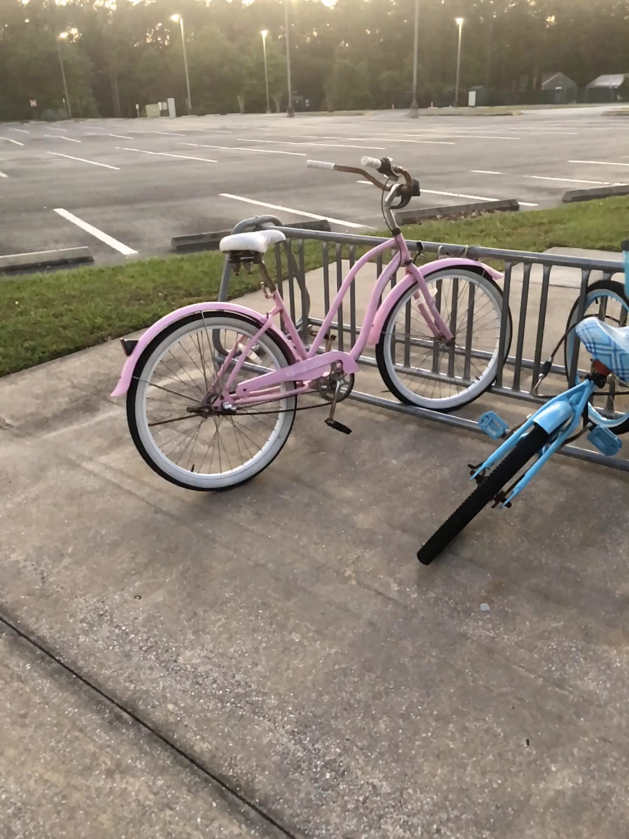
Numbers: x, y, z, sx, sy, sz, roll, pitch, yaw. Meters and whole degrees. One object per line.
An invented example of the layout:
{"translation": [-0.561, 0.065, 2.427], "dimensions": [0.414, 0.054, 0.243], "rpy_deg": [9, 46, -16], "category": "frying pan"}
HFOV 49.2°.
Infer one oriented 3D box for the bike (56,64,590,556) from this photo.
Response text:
{"translation": [0.042, -0.532, 2.608], "dimensions": [1.654, 1.116, 0.841], "rpy_deg": [-22, 30, -24], "category": "bike"}
